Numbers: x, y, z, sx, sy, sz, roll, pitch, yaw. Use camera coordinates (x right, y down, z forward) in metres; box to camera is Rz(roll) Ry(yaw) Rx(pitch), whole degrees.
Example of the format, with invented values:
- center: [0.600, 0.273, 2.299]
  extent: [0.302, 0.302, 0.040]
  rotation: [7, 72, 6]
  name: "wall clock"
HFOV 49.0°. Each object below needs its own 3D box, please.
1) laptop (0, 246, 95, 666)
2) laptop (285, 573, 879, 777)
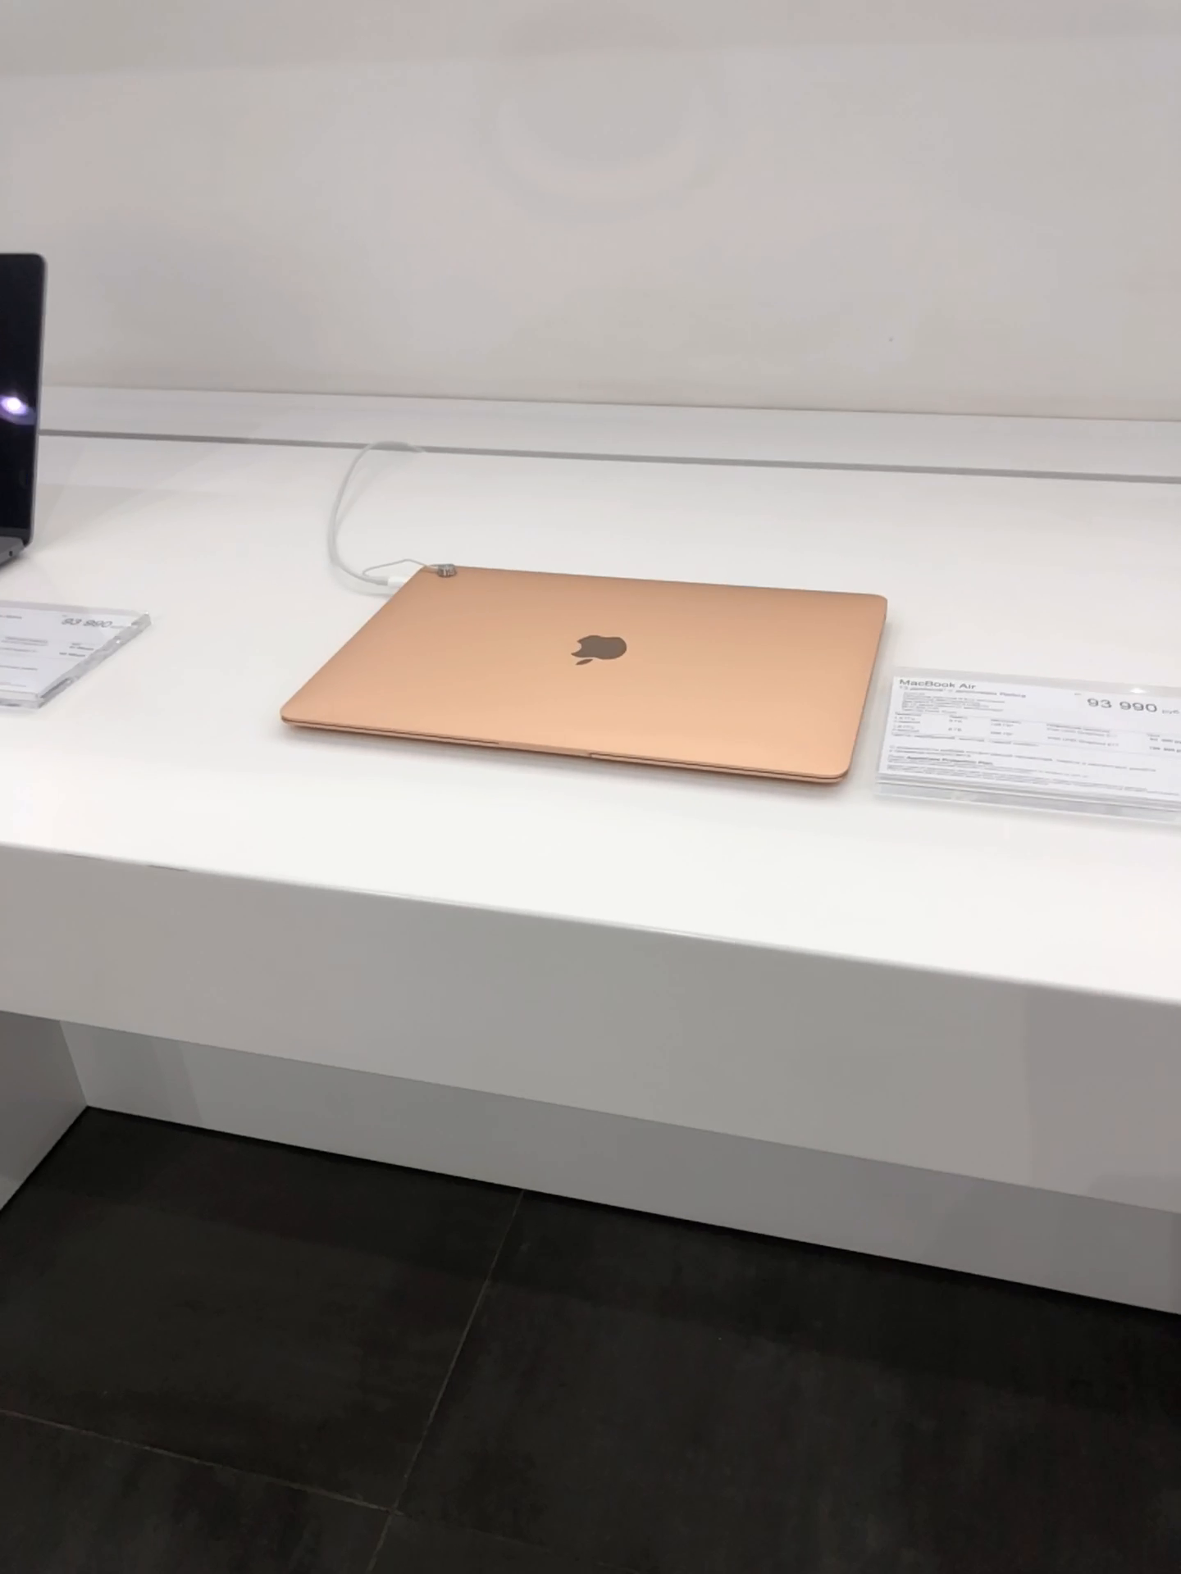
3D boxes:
- center: [-0.586, -0.246, 0.899]
  extent: [0.303, 0.180, 0.313]
  rotation: [6, 33, 15]
  name: "laptop"
- center: [0.005, -0.073, 0.736]
  extent: [0.293, 0.005, 0.202]
  rotation: [5, 33, 15]
  name: "laptop"
